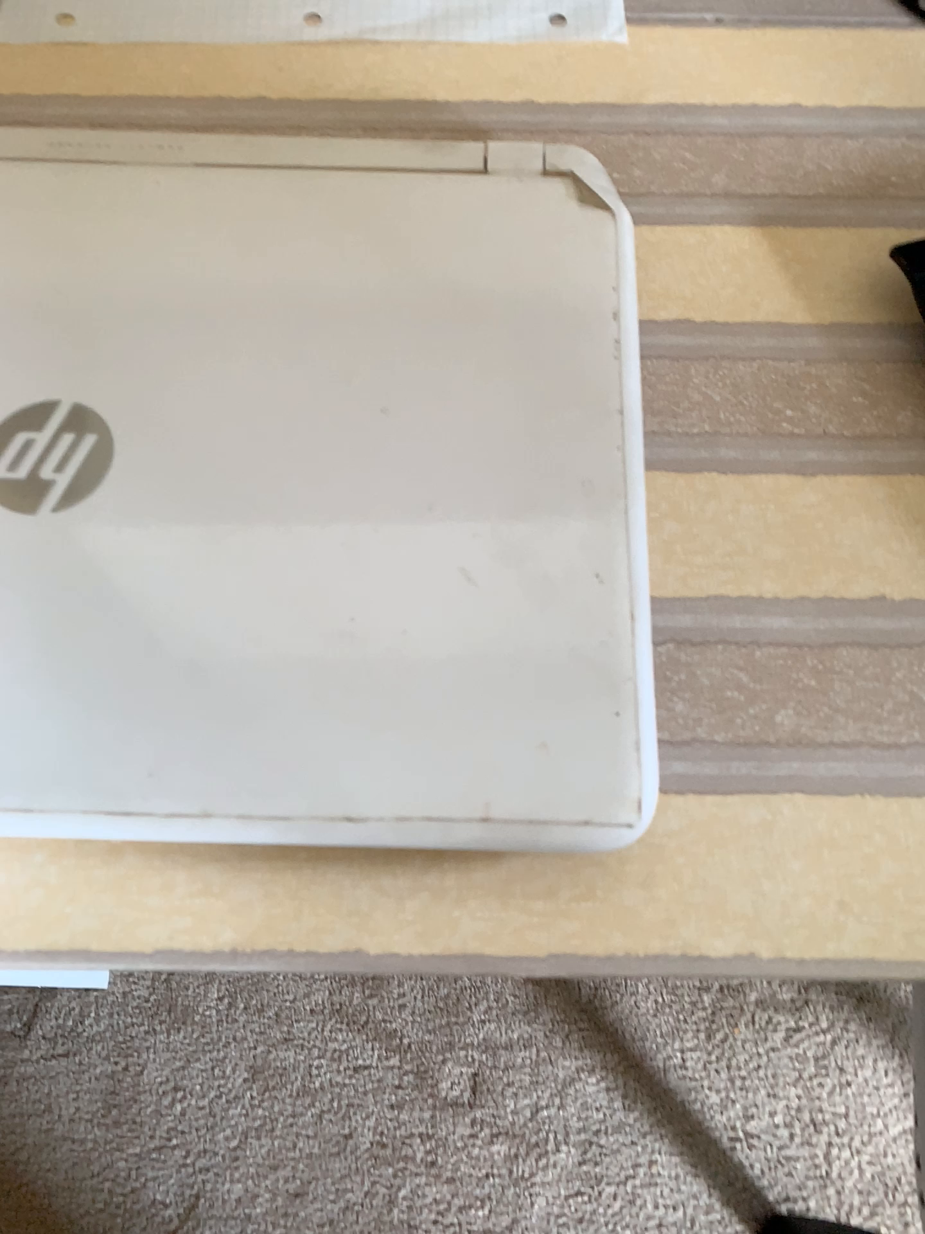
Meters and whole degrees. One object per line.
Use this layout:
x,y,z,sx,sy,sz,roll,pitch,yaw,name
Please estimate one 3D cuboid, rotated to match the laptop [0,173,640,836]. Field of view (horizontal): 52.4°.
-0.130,-0.052,0.300,0.363,0.002,0.229,2,68,1,laptop
